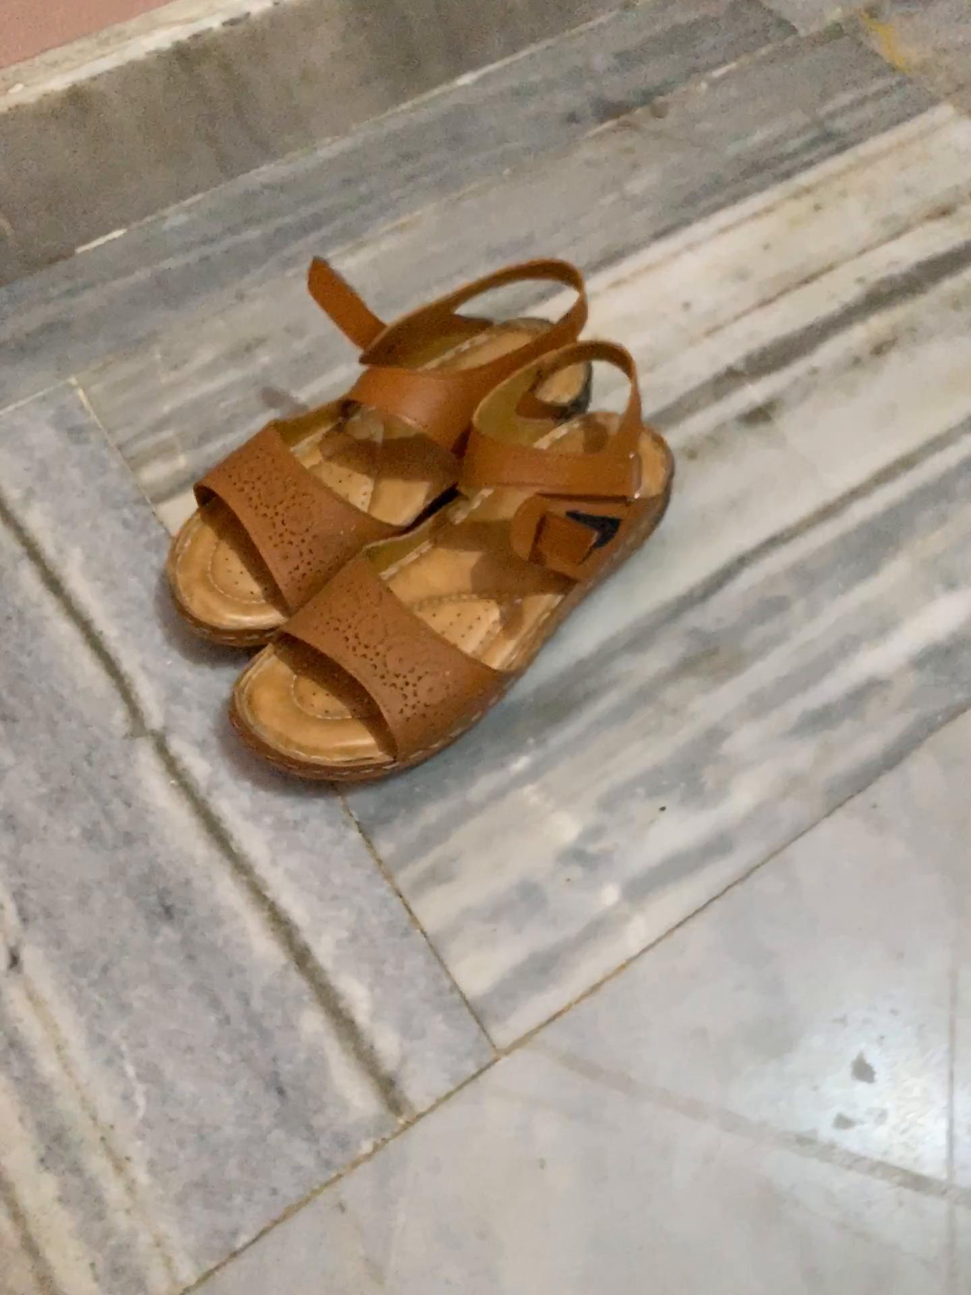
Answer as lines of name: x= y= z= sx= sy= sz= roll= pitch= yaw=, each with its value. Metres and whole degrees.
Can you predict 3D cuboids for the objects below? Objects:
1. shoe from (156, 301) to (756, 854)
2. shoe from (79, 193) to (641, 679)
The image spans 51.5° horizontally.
shoe: x=-0.005 y=-0.035 z=0.468 sx=0.256 sy=0.100 sz=0.090 roll=-38 pitch=67 yaw=-17
shoe: x=-0.052 y=-0.108 z=0.504 sx=0.250 sy=0.100 sz=0.090 roll=-35 pitch=66 yaw=-16
